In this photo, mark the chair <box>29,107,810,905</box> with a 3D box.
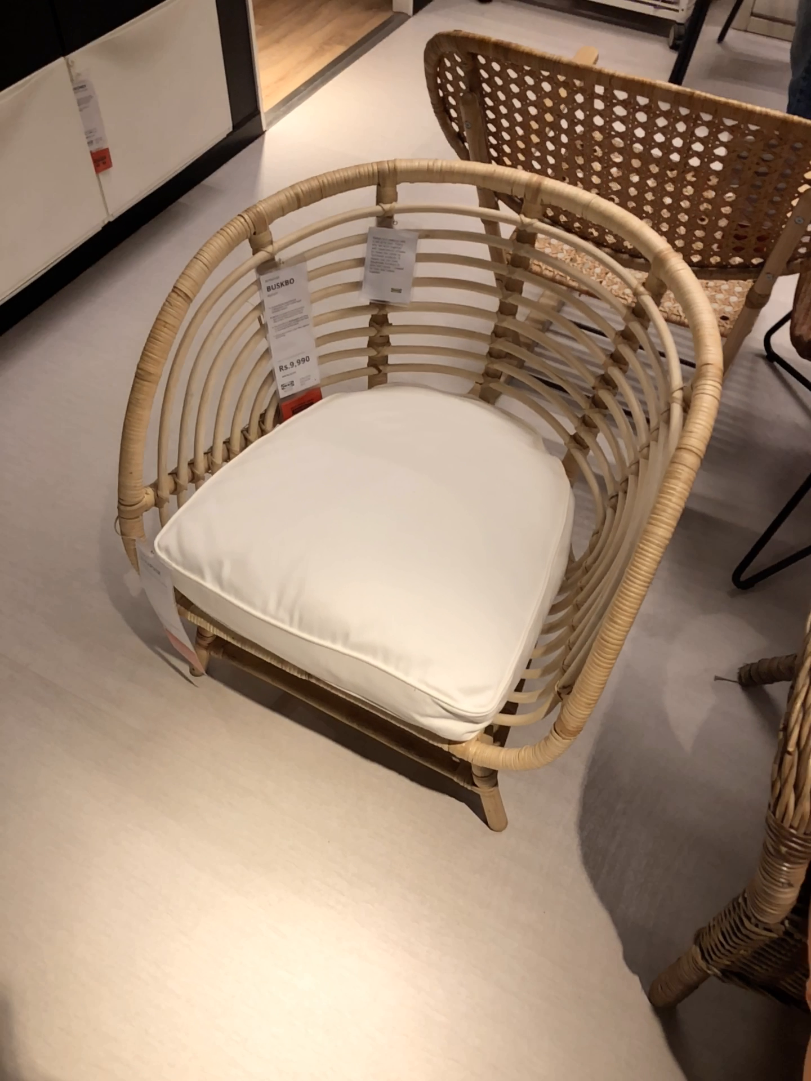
[{"bbox_3d":[0.058,-0.044,1.411,0.751,0.825,0.683,24,55,17],"label":"chair"}]
